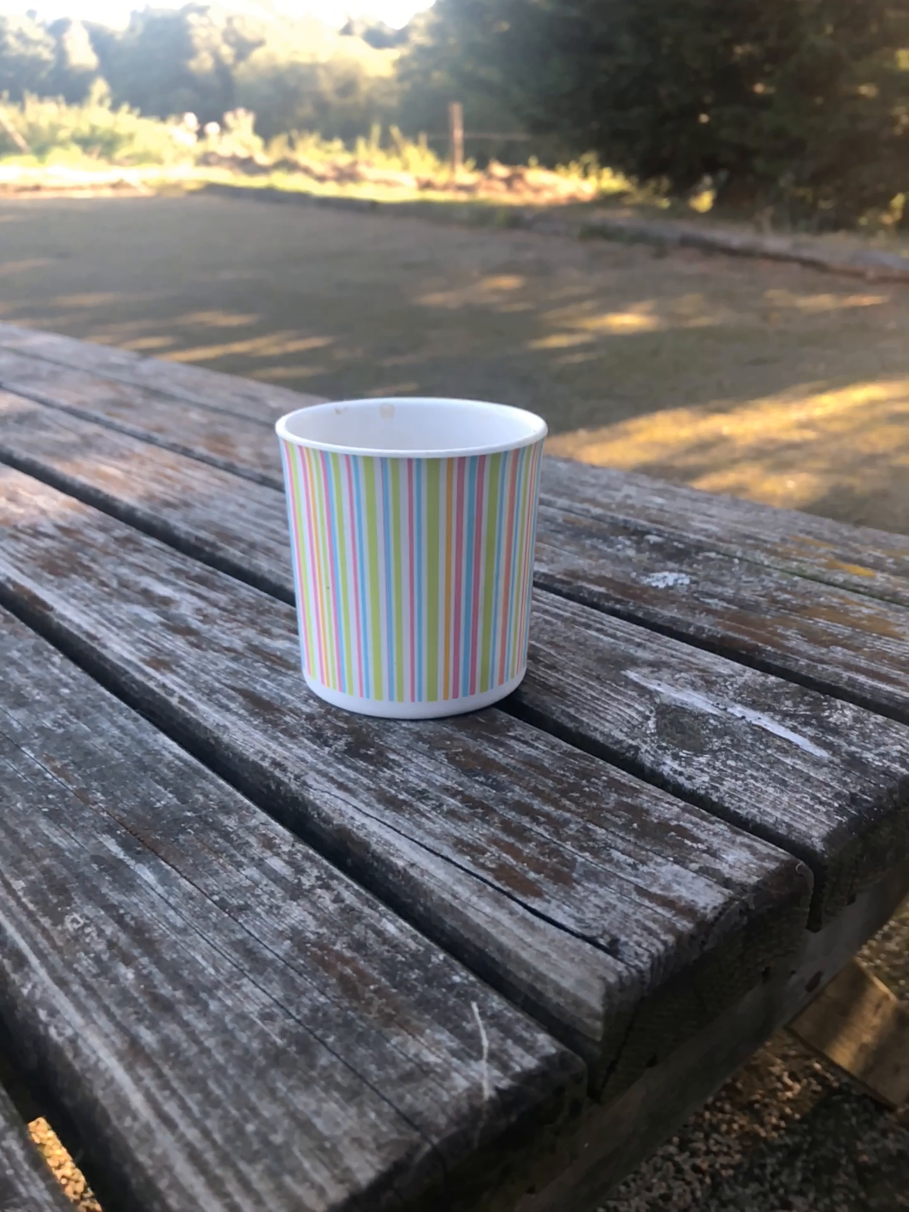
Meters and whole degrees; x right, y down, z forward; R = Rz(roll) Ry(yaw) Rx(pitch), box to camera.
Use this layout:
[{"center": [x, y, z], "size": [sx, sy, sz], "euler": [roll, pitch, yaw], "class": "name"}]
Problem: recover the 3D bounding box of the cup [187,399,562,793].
[{"center": [-0.022, -0.014, 0.380], "size": [0.098, 0.096, 0.134], "euler": [8, 22, 11], "class": "cup"}]
